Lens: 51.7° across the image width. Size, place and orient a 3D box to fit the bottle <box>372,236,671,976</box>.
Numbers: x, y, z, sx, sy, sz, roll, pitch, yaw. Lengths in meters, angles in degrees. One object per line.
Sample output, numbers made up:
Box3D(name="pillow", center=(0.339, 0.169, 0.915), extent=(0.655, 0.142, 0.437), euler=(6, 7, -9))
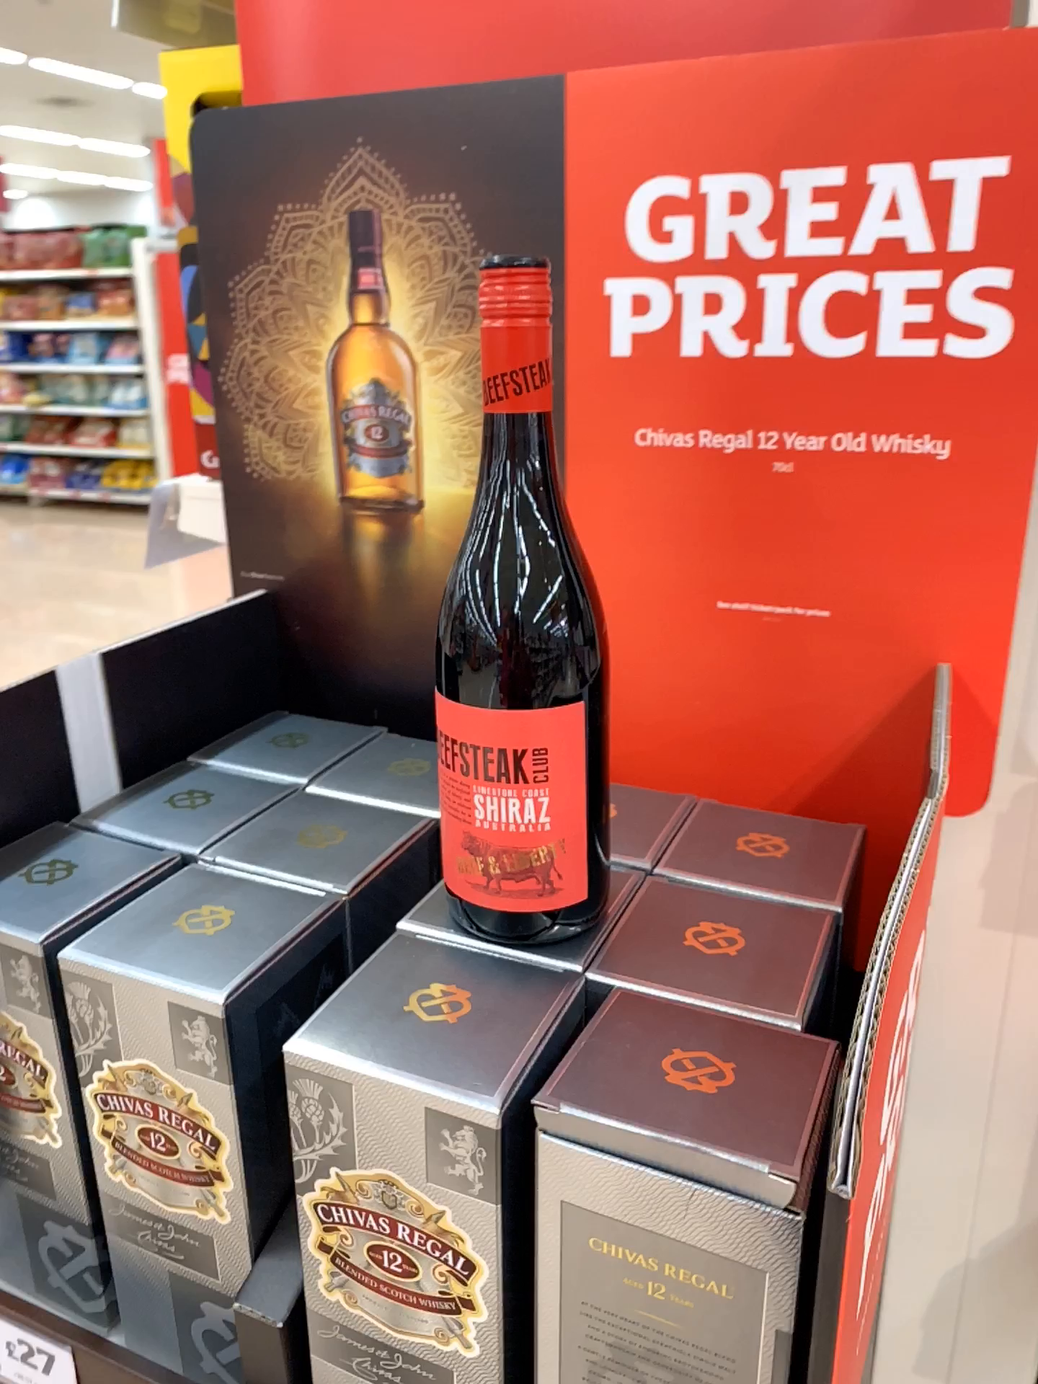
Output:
Box3D(name="bottle", center=(0.004, -0.036, 0.455), extent=(0.083, 0.284, 0.080), euler=(-1, 19, 0))
